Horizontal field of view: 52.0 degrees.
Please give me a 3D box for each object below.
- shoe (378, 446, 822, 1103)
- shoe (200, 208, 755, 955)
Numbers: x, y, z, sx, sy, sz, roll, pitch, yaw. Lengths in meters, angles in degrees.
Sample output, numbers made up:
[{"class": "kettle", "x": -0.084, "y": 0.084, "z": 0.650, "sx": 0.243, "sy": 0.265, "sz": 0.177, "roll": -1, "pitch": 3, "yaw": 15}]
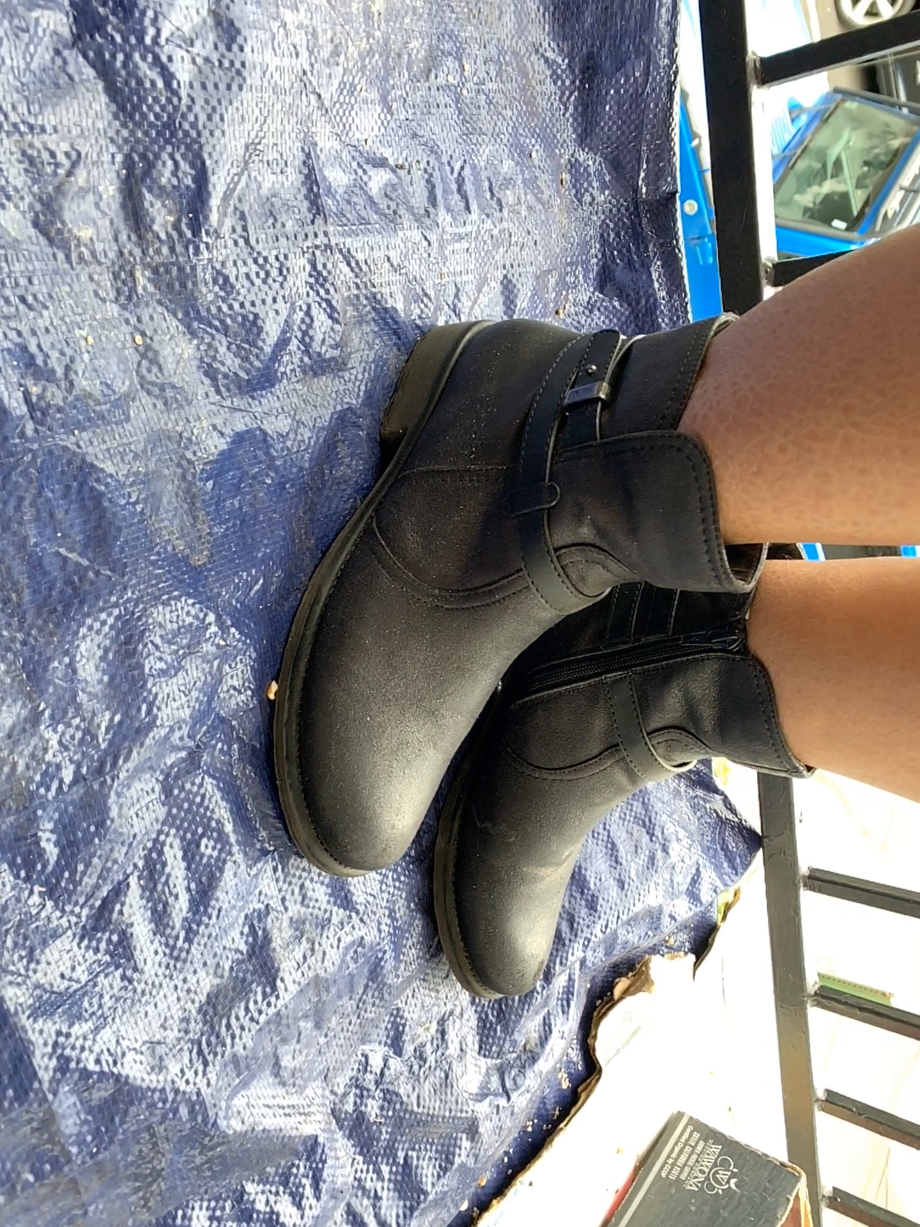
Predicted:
[{"class": "shoe", "x": 0.078, "y": 0.071, "z": 0.463, "sx": 0.111, "sy": 0.109, "sz": 0.280, "roll": 33, "pitch": 69, "yaw": -47}, {"class": "shoe", "x": 0.017, "y": -0.018, "z": 0.414, "sx": 0.101, "sy": 0.129, "sz": 0.280, "roll": 36, "pitch": 67, "yaw": -46}]
